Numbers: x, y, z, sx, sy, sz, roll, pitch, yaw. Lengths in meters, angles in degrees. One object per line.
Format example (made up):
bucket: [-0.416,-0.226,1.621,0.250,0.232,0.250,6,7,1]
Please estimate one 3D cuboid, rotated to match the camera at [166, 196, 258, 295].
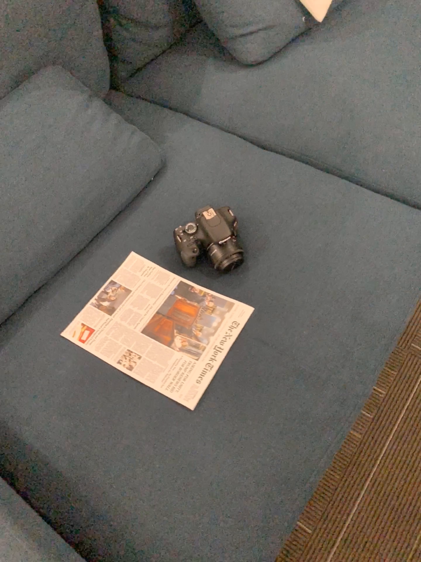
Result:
camera: [0.001,-0.063,0.791,0.120,0.100,0.109,-28,73,-10]
